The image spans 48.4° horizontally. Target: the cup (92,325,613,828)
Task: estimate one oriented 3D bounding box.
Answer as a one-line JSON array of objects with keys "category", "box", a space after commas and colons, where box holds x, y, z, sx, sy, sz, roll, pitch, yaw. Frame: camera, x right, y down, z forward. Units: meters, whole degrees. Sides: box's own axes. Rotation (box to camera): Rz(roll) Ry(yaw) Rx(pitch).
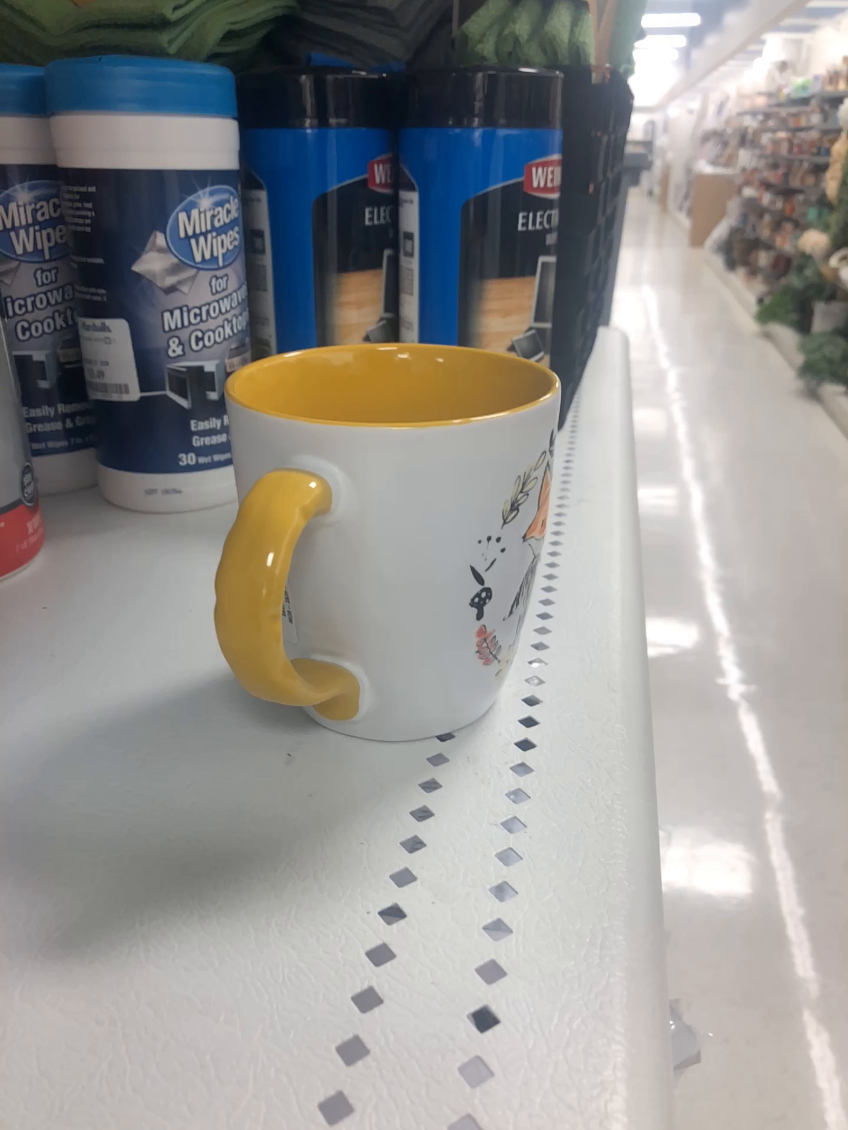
[{"category": "cup", "box": [-0.008, -0.011, 0.282, 0.099, 0.093, 0.134, 8, 25, 19]}]
